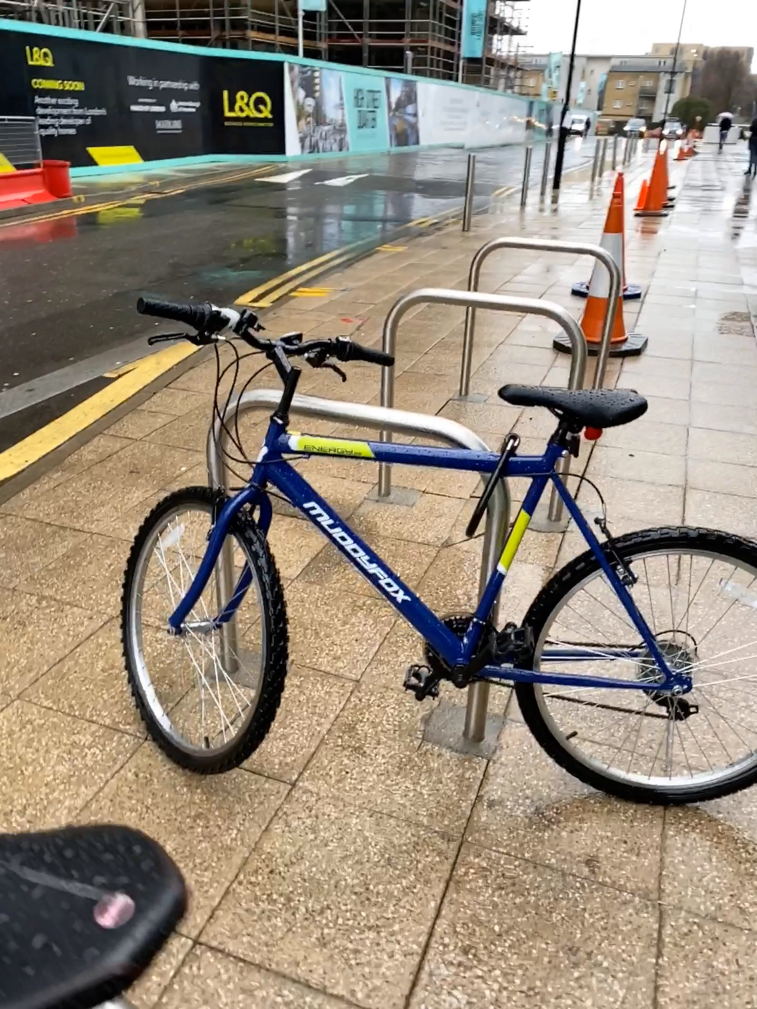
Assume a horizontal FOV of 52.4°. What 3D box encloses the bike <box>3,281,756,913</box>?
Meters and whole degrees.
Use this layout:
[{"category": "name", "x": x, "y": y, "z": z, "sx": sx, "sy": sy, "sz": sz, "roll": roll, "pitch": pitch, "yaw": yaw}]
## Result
[{"category": "bike", "x": 0.150, "y": 0.104, "z": 1.668, "sx": 1.592, "sy": 1.012, "sz": 0.601, "roll": 6, "pitch": 27, "yaw": 14}]
